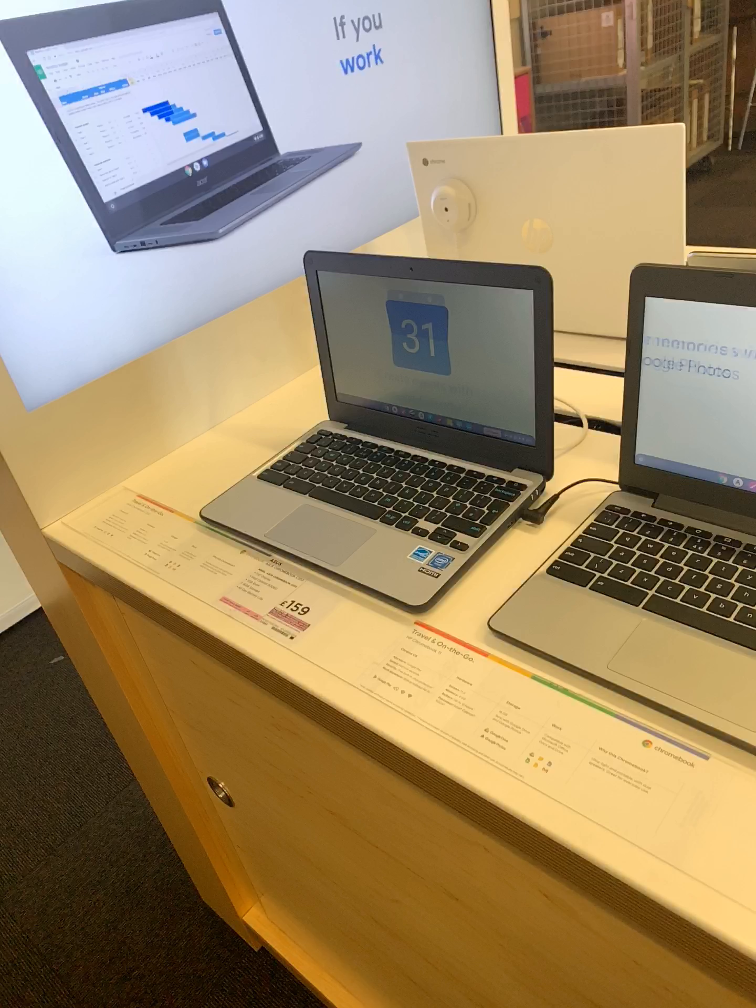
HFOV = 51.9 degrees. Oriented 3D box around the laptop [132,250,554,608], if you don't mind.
[{"bbox_3d":[-0.025,-0.090,0.692,0.281,0.183,0.216,18,44,38],"label":"laptop"}]
